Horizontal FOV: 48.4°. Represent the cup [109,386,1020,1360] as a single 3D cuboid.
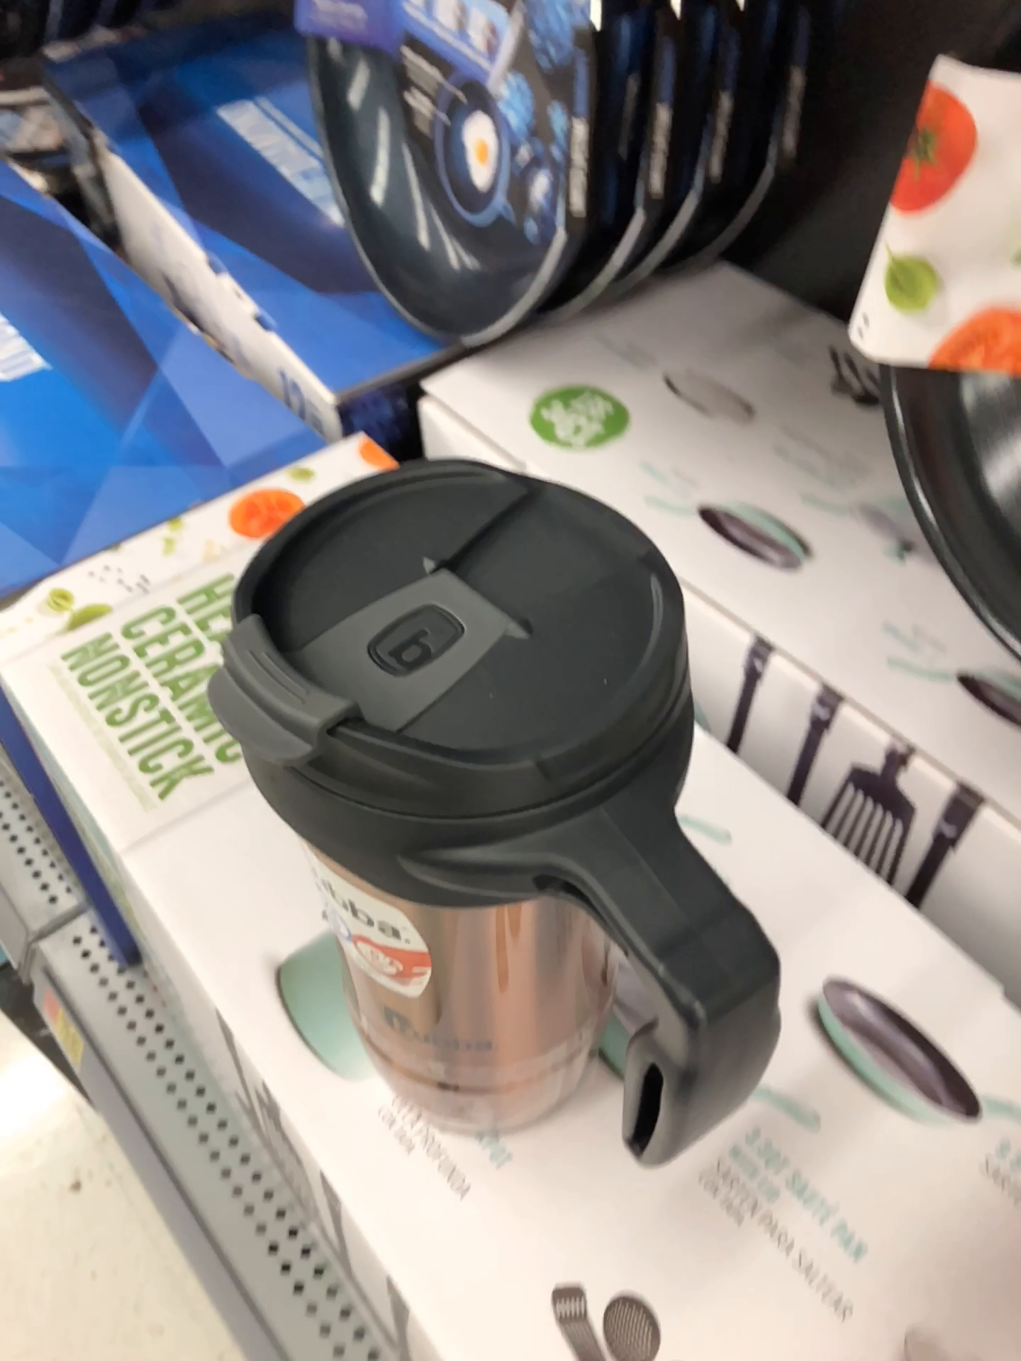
[{"bbox_3d":[0.005,0.057,0.271,0.093,0.182,0.144,-31,54,-21],"label":"cup"}]
